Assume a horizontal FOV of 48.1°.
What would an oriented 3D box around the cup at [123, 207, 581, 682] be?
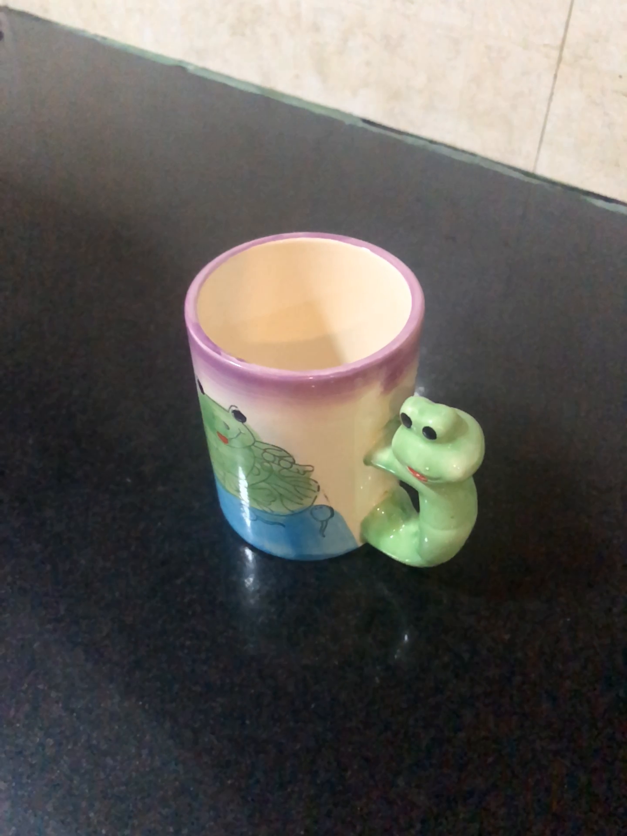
[{"bbox_3d":[0.013,0.008,0.245,0.110,0.109,0.080,22,49,21],"label":"cup"}]
